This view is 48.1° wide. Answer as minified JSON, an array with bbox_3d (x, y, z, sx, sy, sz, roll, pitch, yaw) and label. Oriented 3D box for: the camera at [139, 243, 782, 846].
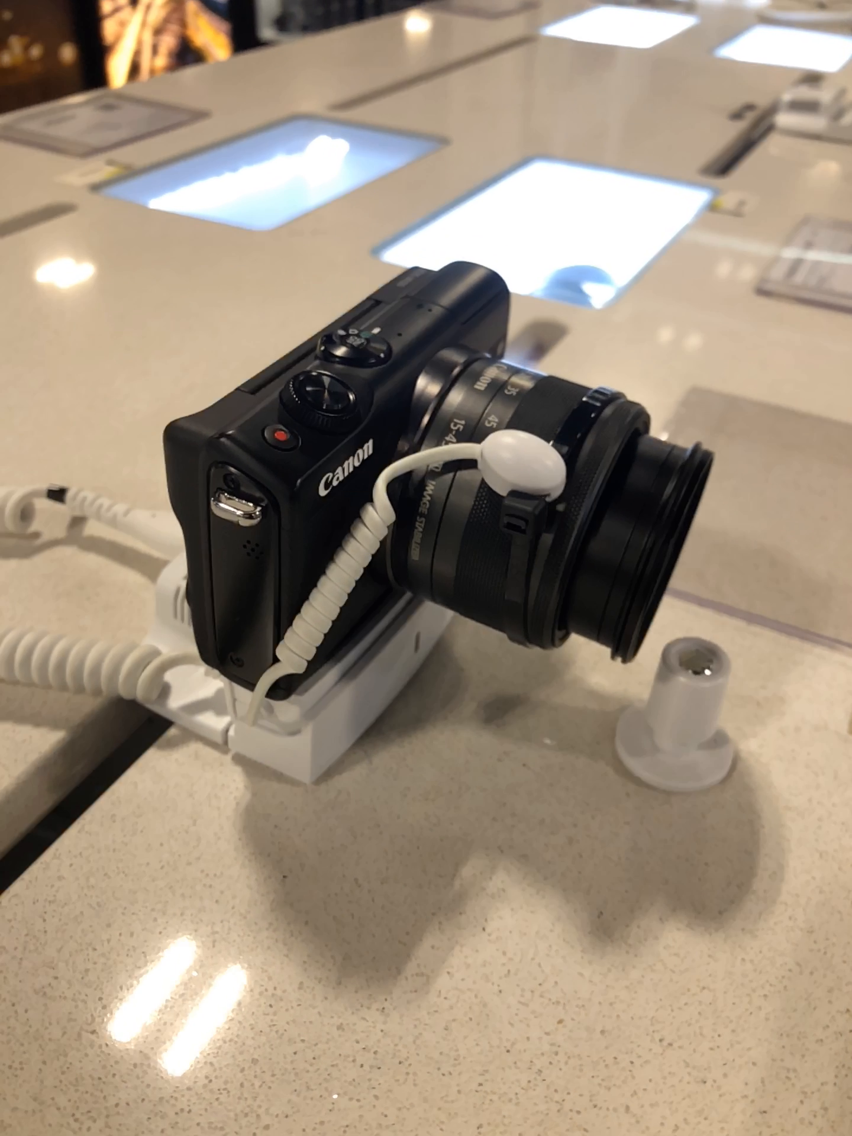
[{"bbox_3d":[0.015,-0.018,0.219,0.090,0.060,0.121,20,42,21],"label":"camera"}]
